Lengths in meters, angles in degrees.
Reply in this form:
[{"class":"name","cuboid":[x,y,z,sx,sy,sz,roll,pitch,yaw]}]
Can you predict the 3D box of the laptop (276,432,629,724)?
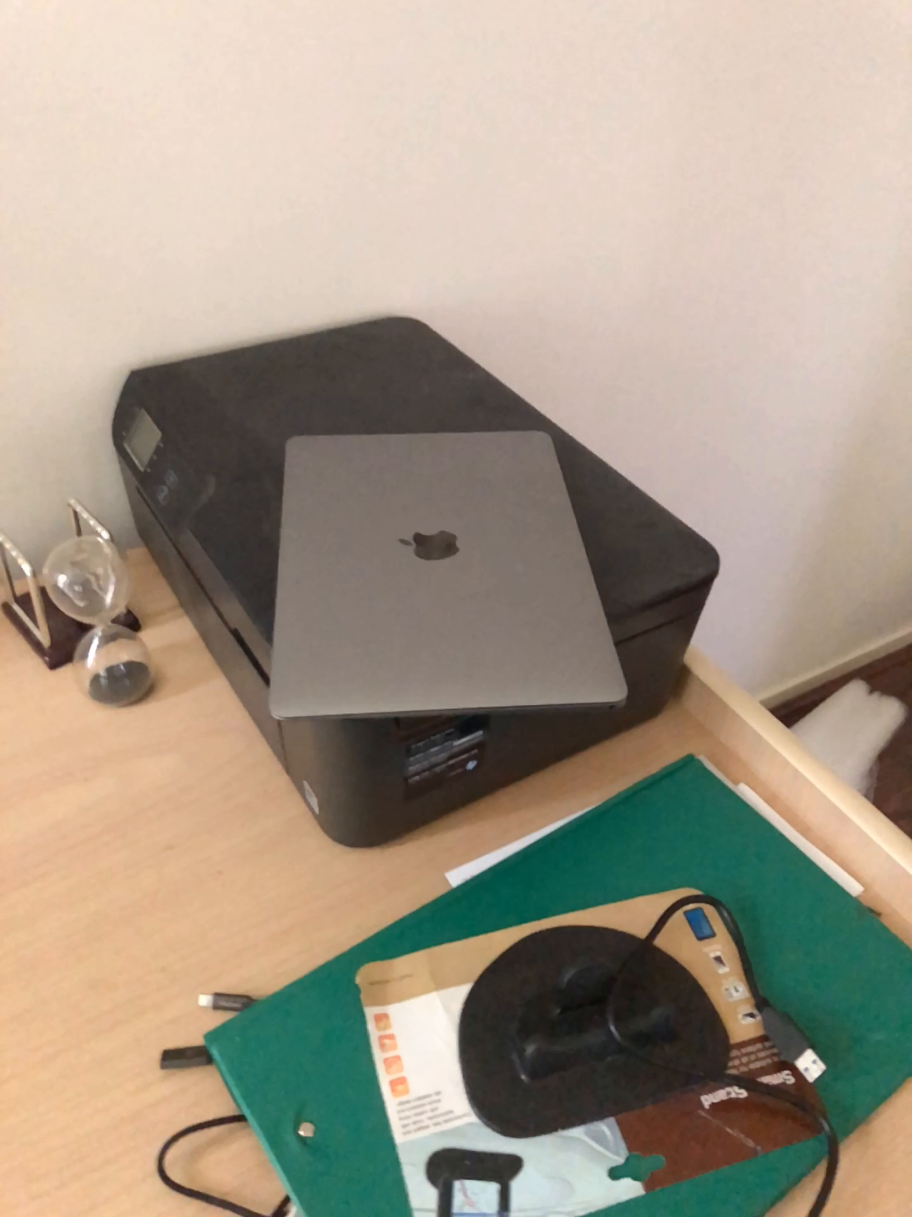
[{"class":"laptop","cuboid":[-0.012,-0.034,0.635,0.188,0.007,0.267,-2,42,-4]}]
